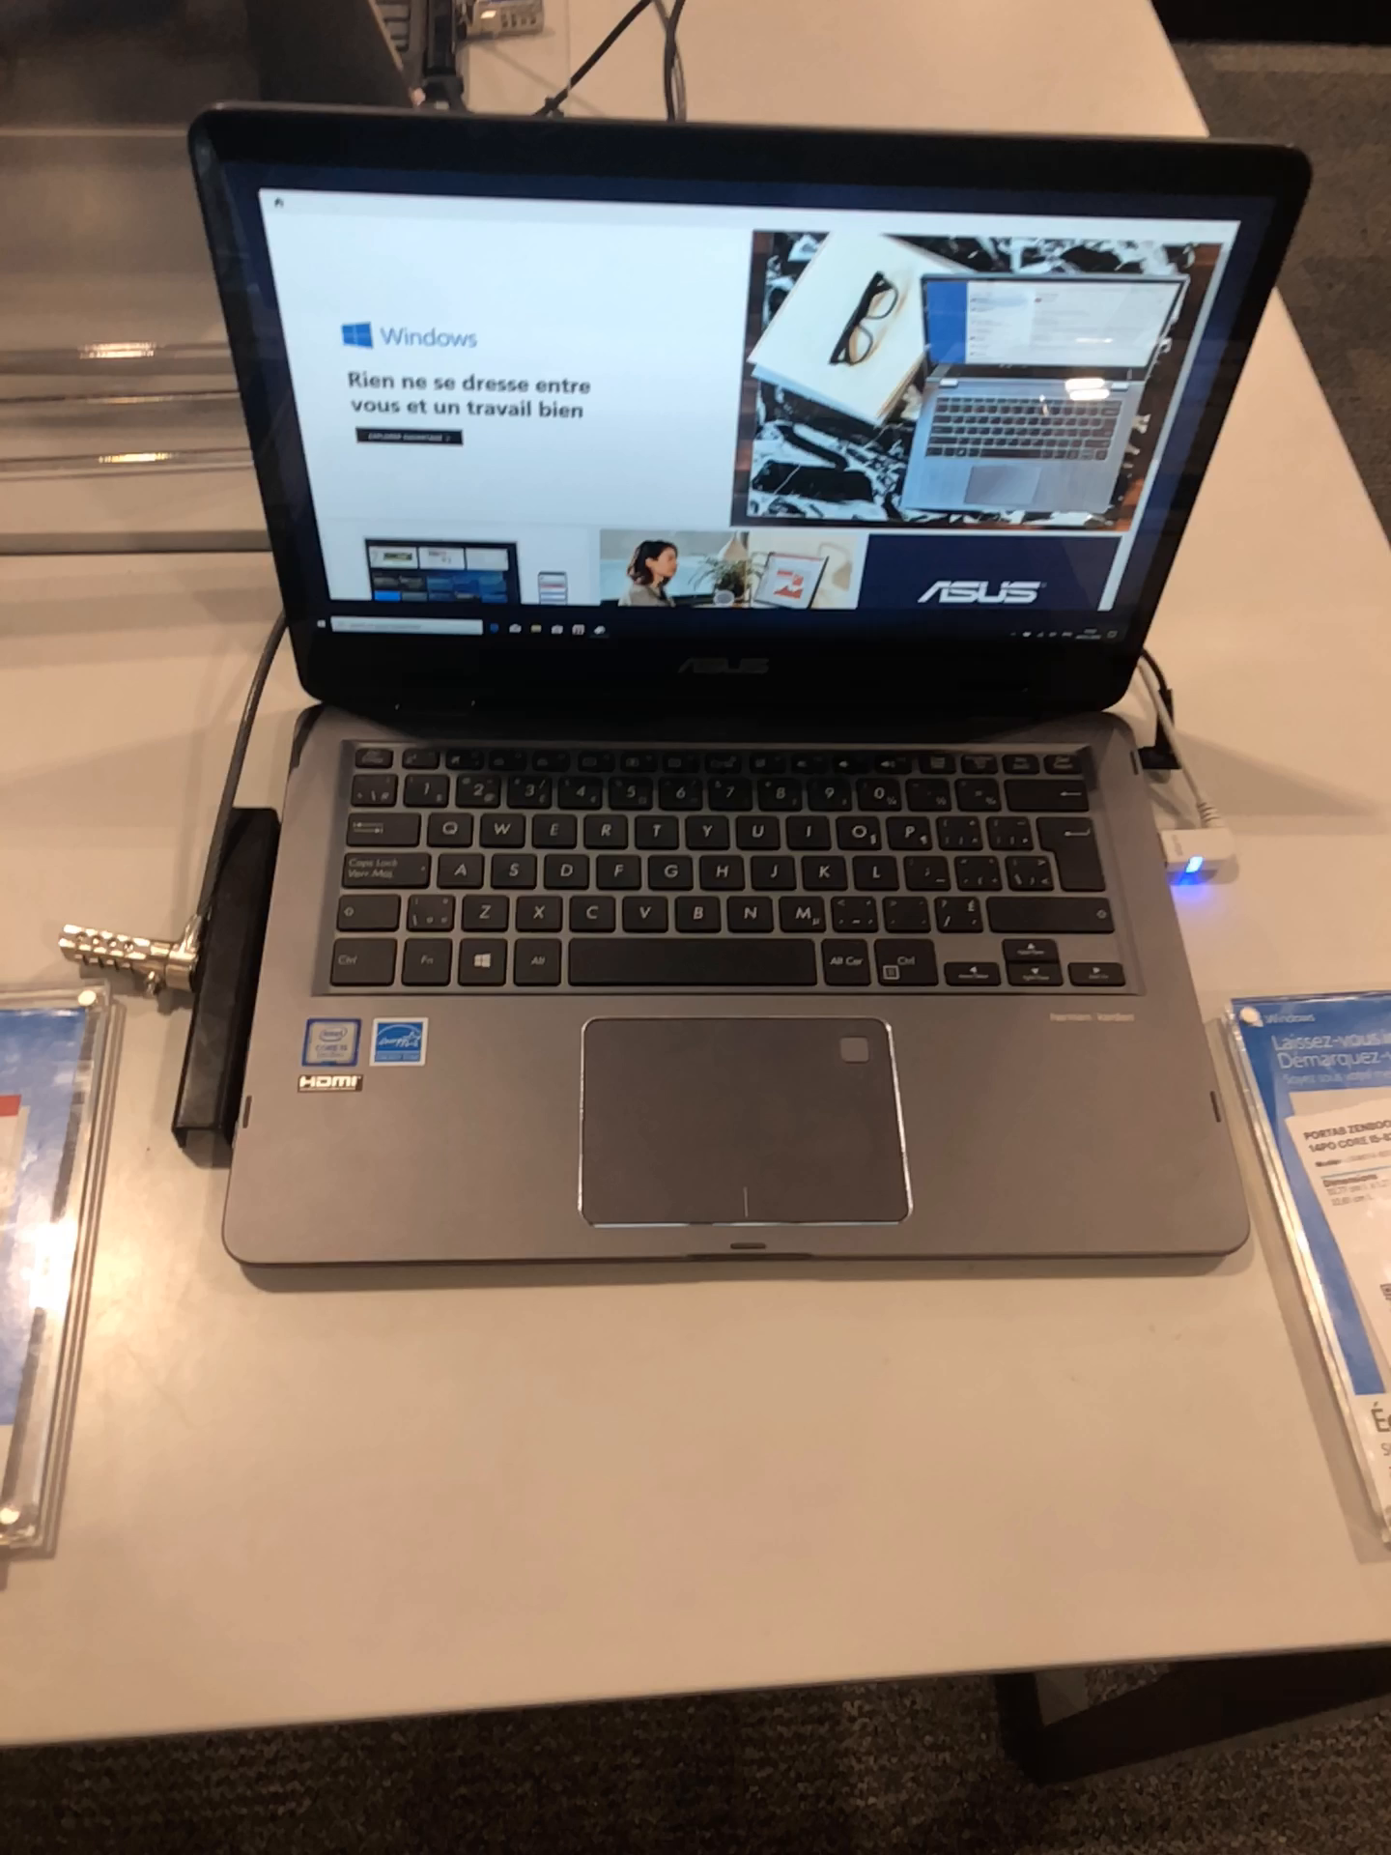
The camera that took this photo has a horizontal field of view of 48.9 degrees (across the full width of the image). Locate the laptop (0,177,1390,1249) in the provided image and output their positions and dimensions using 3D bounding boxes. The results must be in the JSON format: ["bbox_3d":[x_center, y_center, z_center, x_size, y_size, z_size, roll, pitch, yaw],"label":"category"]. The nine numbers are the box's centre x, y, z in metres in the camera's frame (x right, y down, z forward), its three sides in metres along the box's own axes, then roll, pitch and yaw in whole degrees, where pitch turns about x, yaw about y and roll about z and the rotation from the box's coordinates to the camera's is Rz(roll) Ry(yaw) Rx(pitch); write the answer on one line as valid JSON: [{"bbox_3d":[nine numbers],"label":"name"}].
[{"bbox_3d":[0.016,-0.053,0.439,0.302,0.217,0.224,0,55,-2],"label":"laptop"}]
